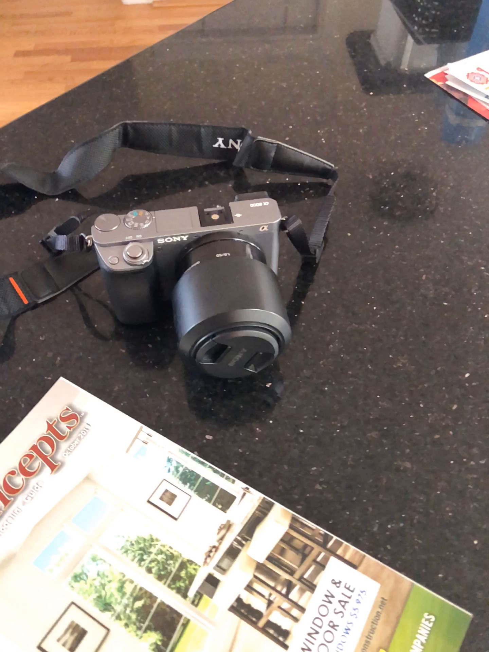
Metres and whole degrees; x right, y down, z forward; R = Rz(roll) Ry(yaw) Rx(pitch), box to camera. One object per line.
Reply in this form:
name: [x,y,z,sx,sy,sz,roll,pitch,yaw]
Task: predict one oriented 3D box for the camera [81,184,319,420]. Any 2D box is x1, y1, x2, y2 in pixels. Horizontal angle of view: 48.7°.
camera: [-0.030,-0.014,0.354,0.127,0.100,0.100,-8,55,-5]
